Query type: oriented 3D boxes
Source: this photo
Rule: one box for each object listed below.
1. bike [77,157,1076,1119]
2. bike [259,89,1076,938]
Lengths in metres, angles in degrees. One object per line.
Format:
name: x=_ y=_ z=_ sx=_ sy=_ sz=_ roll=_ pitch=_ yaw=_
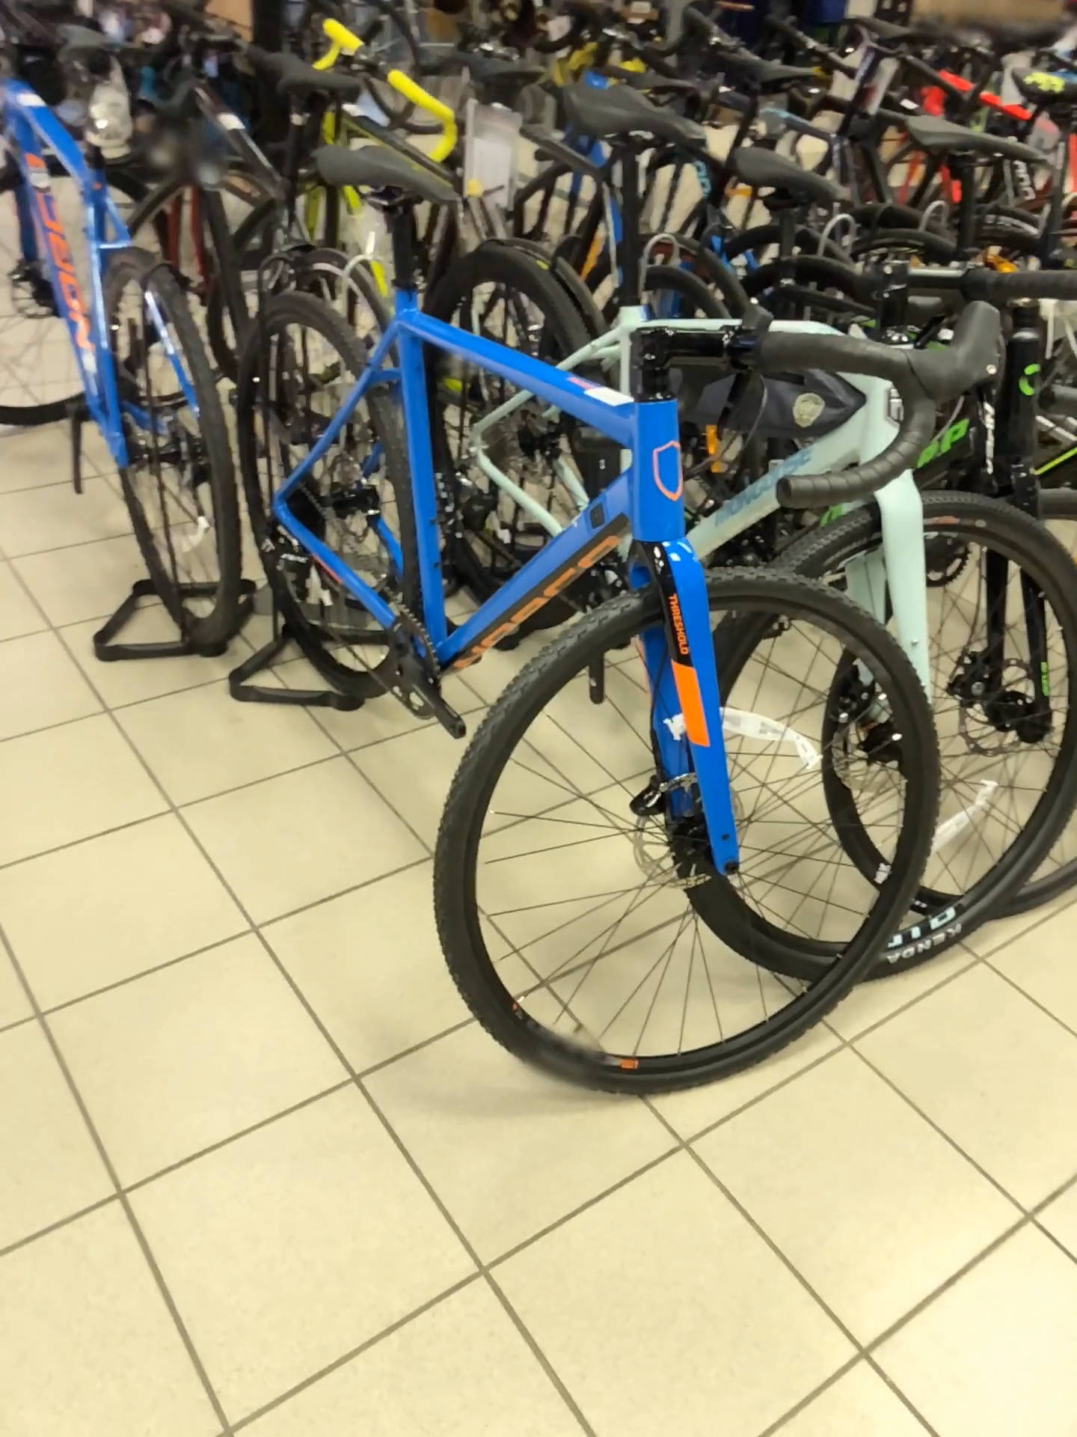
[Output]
bike: x=0.005 y=-0.216 z=1.896 sx=1.472 sy=0.805 sz=0.526 roll=36 pitch=45 yaw=27
bike: x=0.298 y=-0.437 z=2.008 sx=1.423 sy=0.870 sz=0.618 roll=33 pitch=43 yaw=30
